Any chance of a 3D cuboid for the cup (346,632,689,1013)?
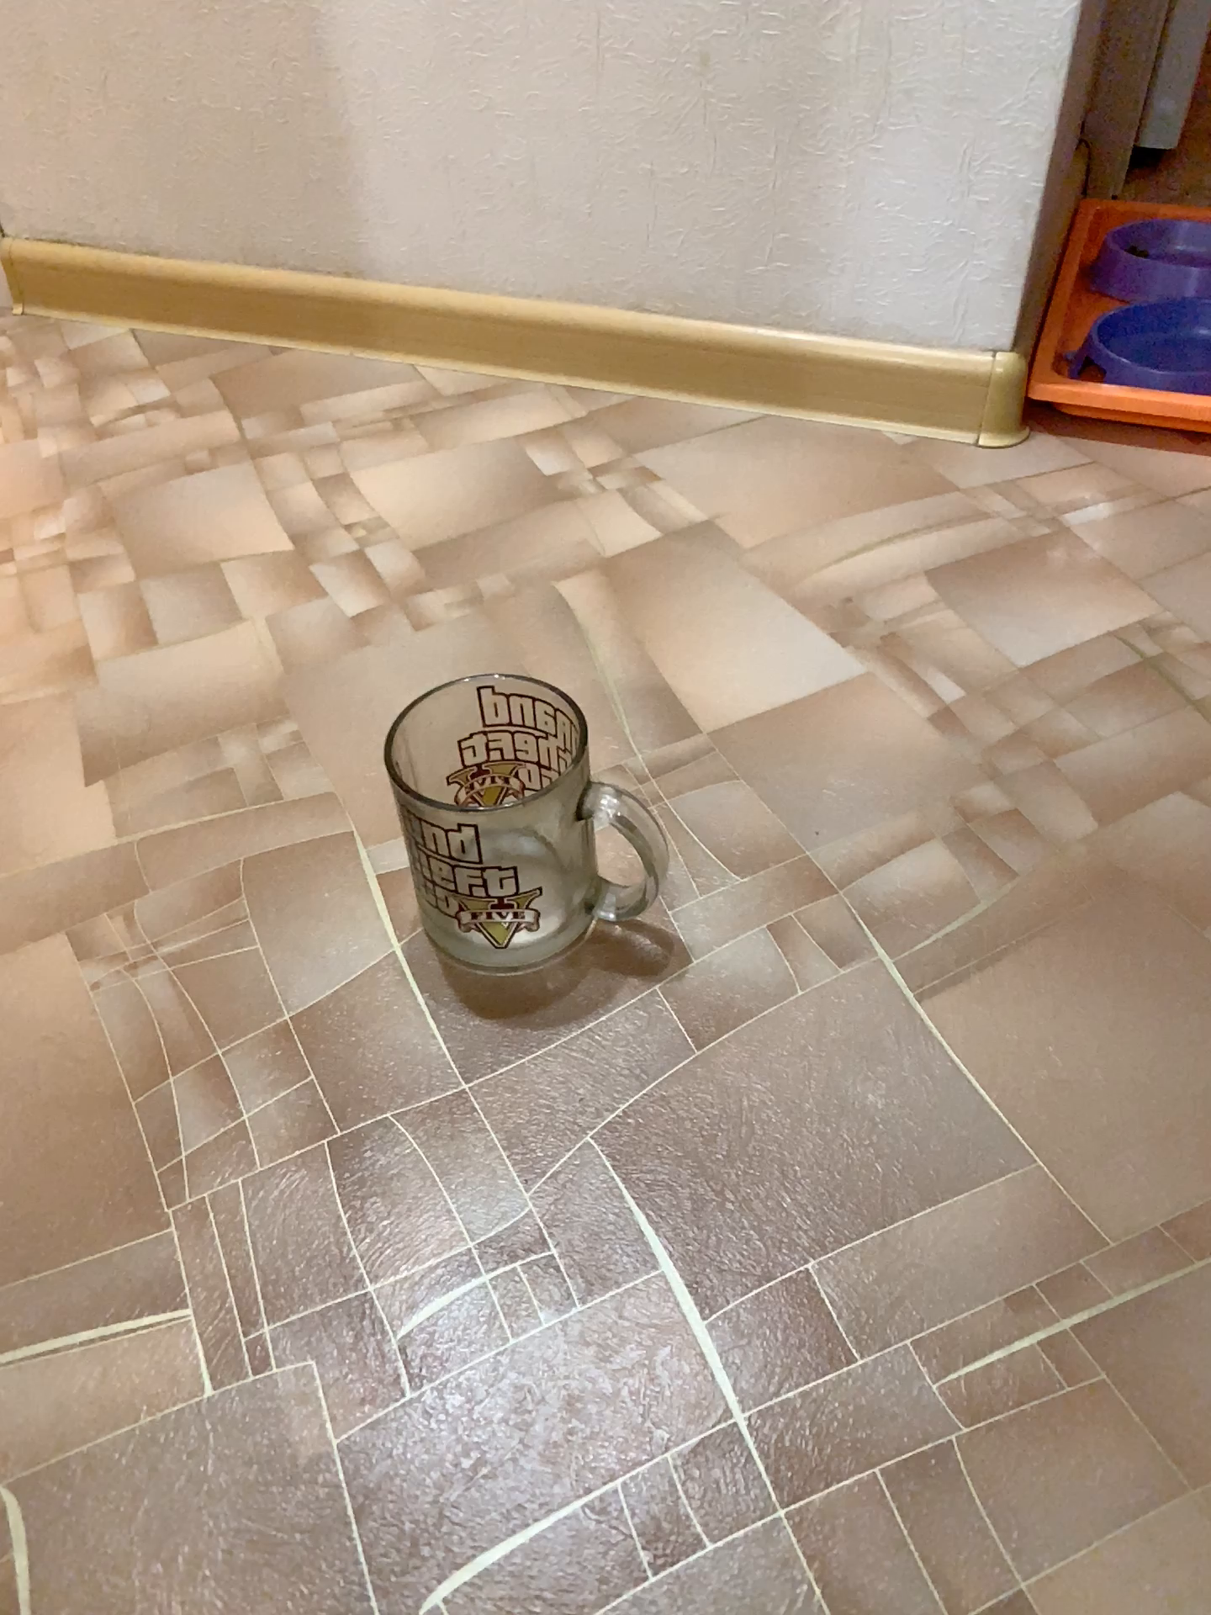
[{"bbox_3d":[-0.028,0.005,0.471,0.097,0.097,0.082,13,47,15],"label":"cup"}]
